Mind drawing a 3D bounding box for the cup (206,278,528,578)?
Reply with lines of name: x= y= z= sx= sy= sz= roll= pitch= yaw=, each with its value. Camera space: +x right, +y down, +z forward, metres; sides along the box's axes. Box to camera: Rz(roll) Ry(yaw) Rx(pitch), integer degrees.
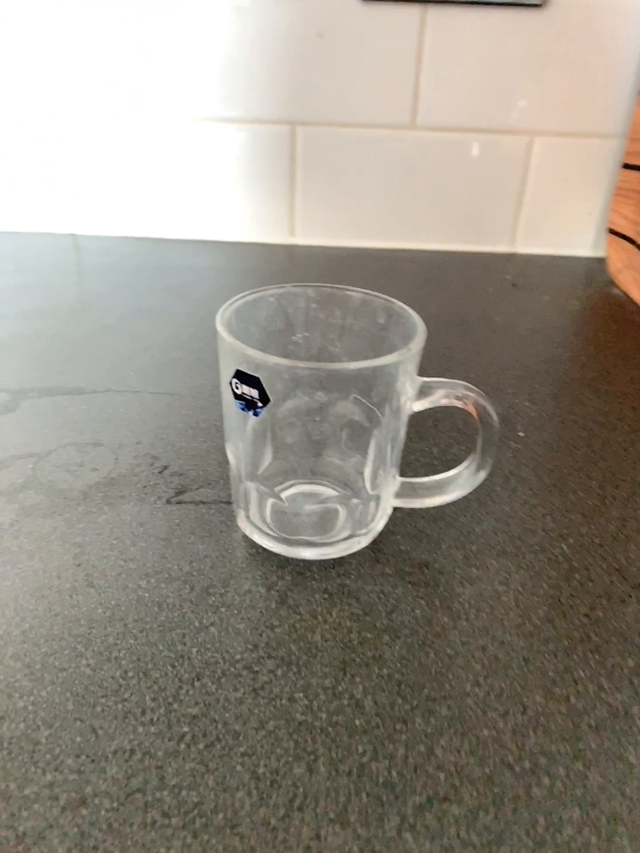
cup: x=0.011 y=-0.002 z=0.257 sx=0.100 sy=0.090 sz=0.071 roll=-1 pitch=31 yaw=-5
